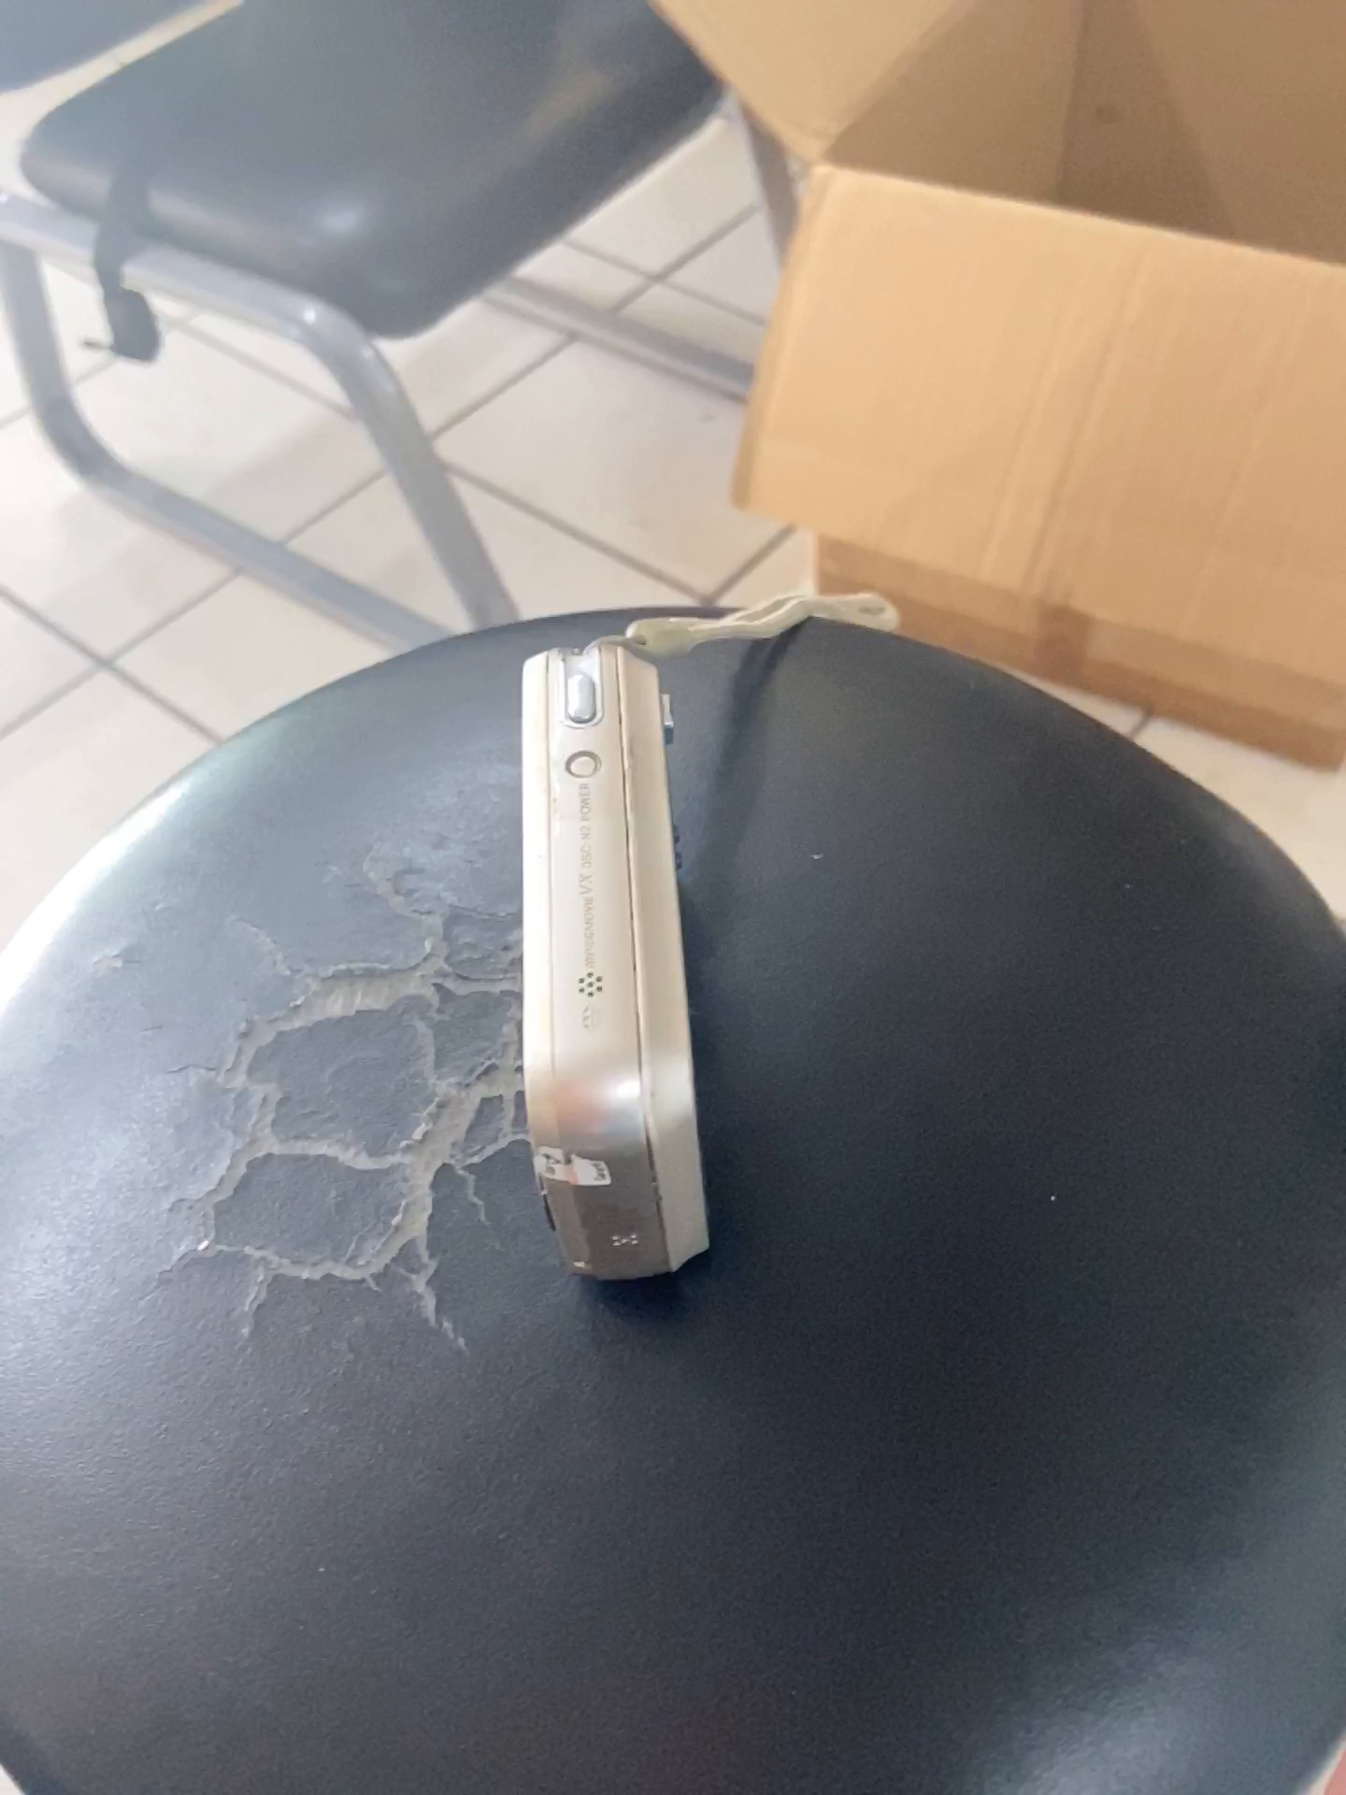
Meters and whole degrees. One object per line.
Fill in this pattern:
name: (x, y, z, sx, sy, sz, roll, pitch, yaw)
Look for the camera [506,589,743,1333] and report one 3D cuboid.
camera: (-0.008, 0.008, 0.239, 0.030, 0.060, 0.111, -4, 53, 0)
